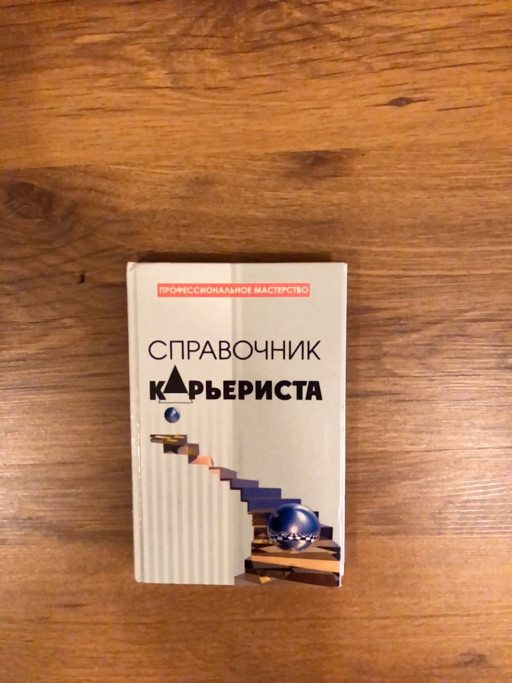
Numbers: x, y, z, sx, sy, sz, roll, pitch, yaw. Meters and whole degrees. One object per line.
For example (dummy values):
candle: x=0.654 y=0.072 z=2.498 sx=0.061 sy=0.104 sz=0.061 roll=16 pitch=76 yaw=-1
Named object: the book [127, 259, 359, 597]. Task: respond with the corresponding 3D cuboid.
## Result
book: x=-0.007 y=0.053 z=0.351 sx=0.136 sy=0.026 sz=0.204 roll=0 pitch=96 yaw=3
